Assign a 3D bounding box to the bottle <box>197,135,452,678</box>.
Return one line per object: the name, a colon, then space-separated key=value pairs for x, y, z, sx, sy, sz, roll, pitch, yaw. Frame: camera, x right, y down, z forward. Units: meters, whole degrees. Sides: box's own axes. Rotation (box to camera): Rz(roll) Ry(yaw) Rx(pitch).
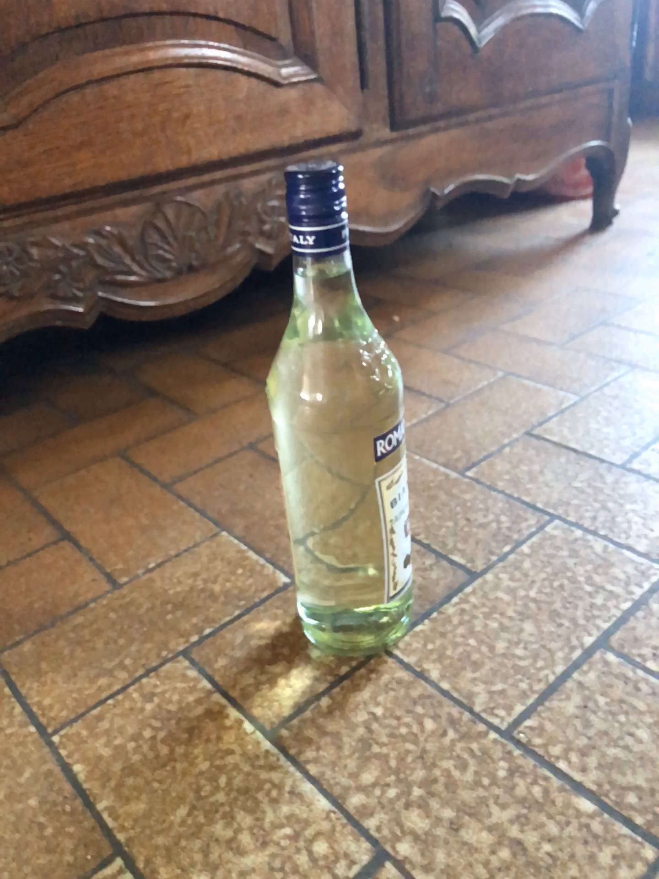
bottle: x=0.015 y=-0.011 z=0.435 sx=0.100 sy=0.298 sz=0.101 roll=-5 pitch=29 yaw=3
